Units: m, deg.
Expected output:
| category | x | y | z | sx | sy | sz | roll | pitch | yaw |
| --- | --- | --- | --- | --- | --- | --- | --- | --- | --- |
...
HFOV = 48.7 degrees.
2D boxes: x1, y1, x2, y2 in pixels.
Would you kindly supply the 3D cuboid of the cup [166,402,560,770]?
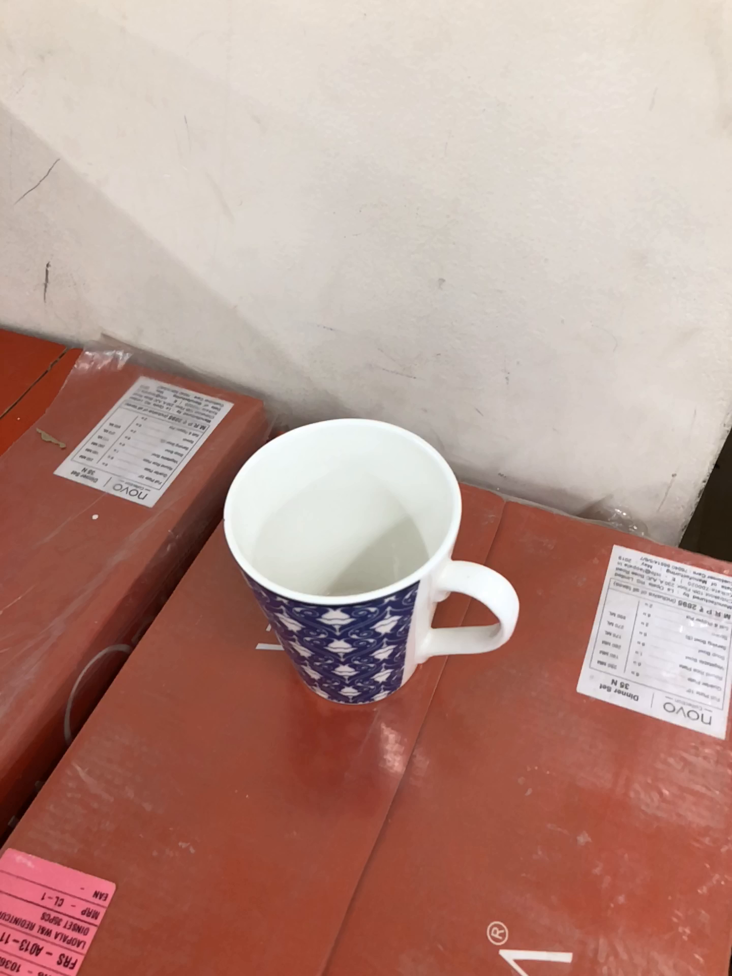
| category | x | y | z | sx | sy | sz | roll | pitch | yaw |
| --- | --- | --- | --- | --- | --- | --- | --- | --- | --- |
| cup | 0.004 | 0.039 | 0.318 | 0.120 | 0.100 | 0.080 | 10 | 51 | 11 |
